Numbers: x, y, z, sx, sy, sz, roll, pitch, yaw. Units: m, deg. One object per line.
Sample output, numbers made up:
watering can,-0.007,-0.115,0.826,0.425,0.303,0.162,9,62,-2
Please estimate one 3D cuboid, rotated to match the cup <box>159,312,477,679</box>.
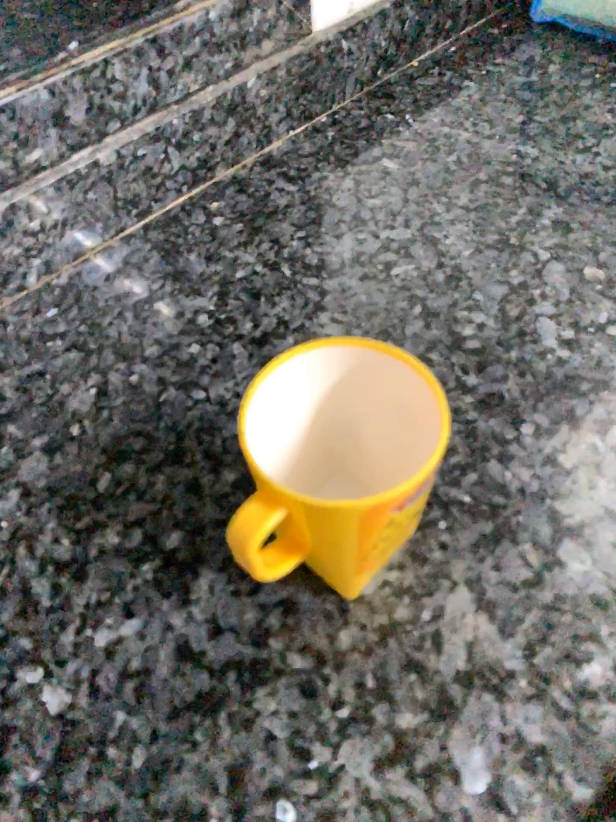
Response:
cup,0.008,0.039,0.276,0.070,0.109,0.100,33,62,25
